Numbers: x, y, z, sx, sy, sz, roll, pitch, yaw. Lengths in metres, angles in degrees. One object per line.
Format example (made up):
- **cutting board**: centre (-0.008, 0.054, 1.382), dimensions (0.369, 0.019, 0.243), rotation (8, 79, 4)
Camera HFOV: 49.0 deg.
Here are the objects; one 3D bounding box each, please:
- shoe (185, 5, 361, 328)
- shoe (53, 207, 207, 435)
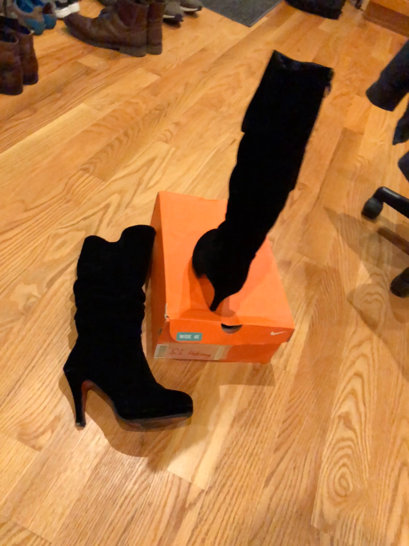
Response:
- **shoe**: centre (0.060, -0.129, 0.656), dimensions (0.089, 0.397, 0.217), rotation (9, 46, -12)
- **shoe**: centre (-0.131, 0.061, 0.771), dimensions (0.206, 0.089, 0.401), rotation (4, 47, -15)
